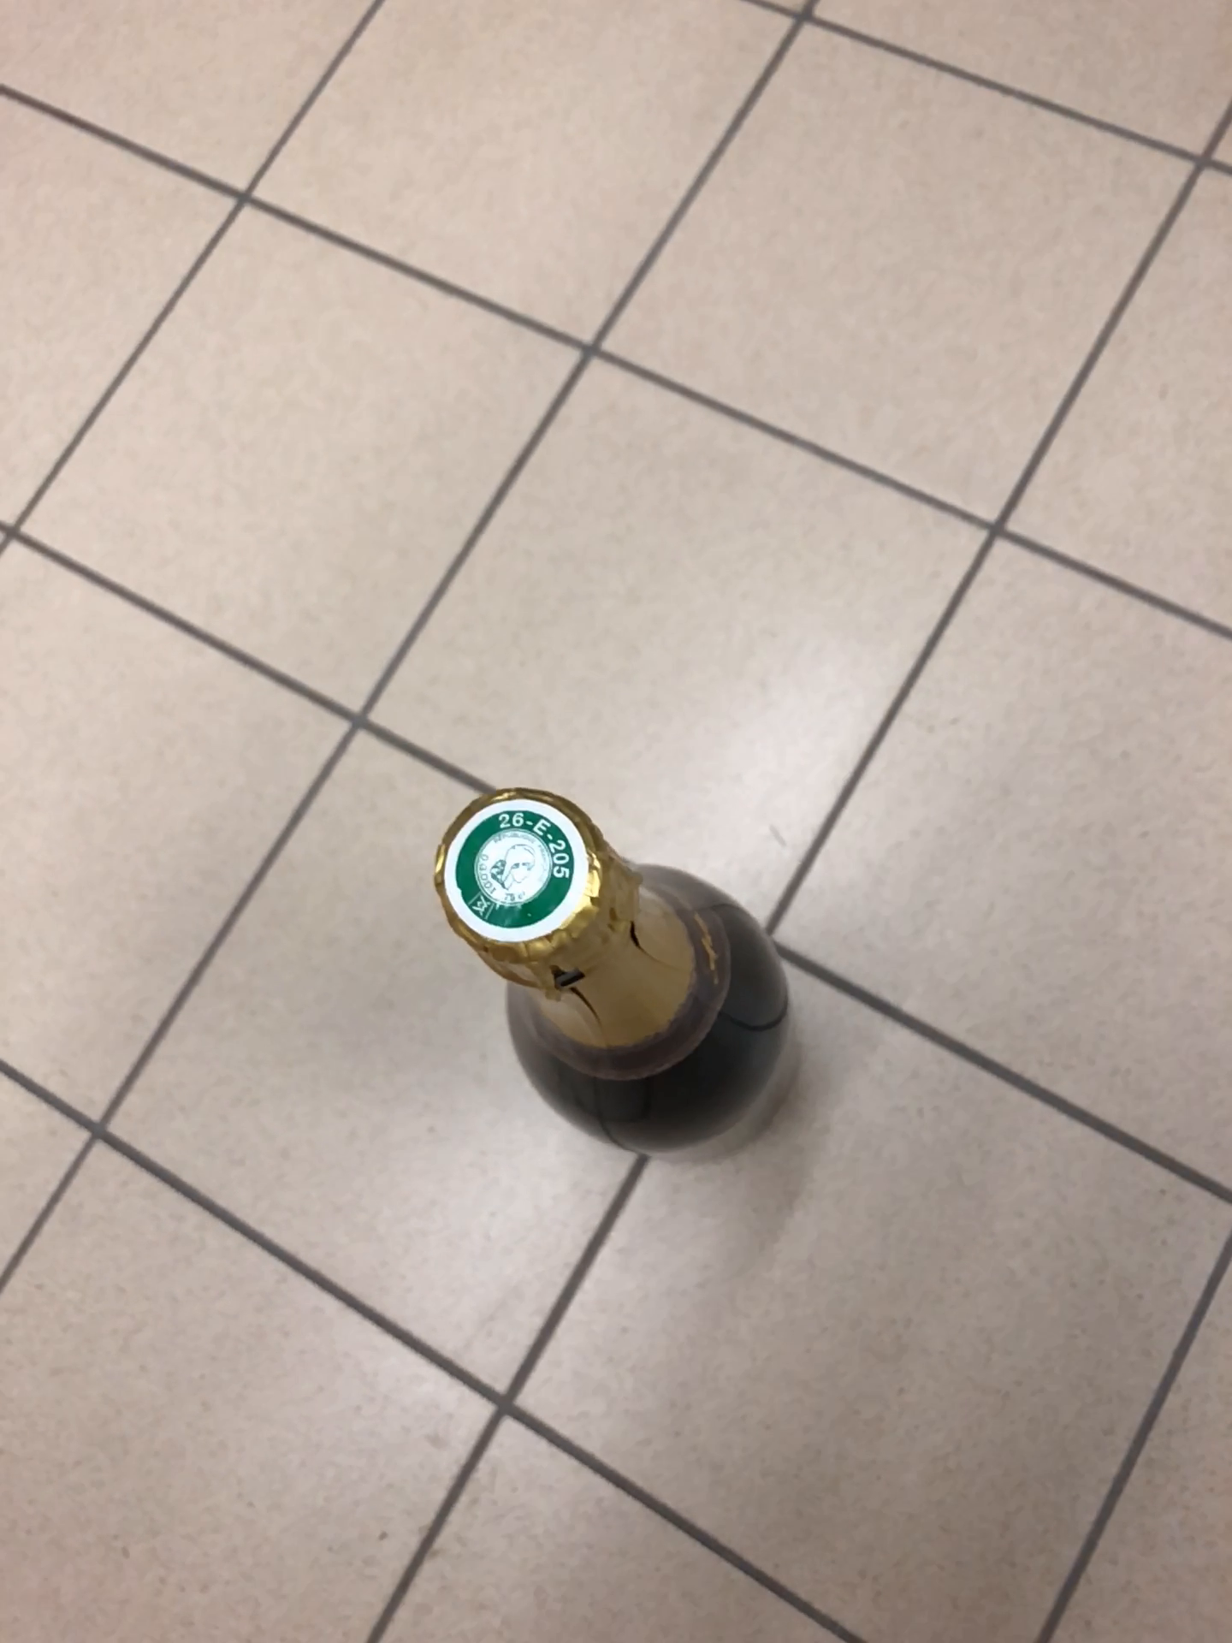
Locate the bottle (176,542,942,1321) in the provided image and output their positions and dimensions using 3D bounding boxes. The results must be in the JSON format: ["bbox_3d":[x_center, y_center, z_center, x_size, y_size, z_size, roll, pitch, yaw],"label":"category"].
[{"bbox_3d":[0.008,0.056,0.387,0.100,0.320,0.100,-2,75,8],"label":"bottle"}]
